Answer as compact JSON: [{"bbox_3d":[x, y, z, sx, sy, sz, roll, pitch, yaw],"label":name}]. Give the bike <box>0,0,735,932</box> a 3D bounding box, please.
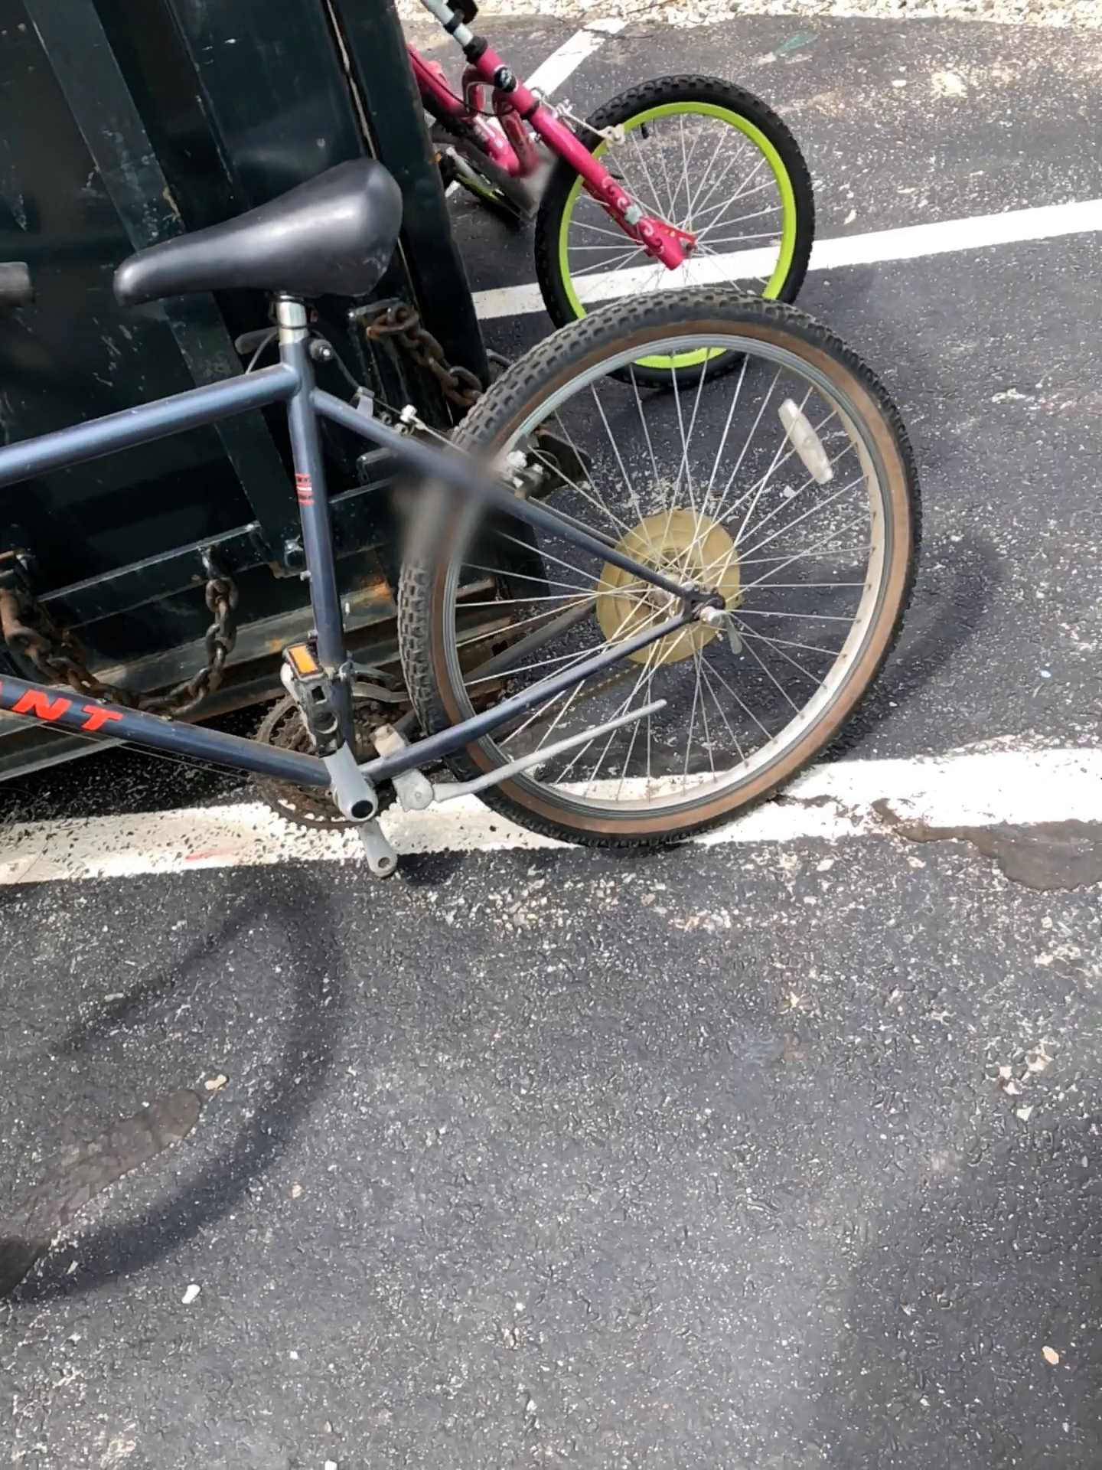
[{"bbox_3d":[-0.524,-0.337,1.313,1.097,0.833,0.638,-14,51,-1],"label":"bike"}]
